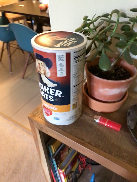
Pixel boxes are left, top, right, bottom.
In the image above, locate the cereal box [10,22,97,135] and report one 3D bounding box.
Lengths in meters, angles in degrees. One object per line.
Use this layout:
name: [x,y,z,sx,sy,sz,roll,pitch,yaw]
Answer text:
cereal box: [-0.030,-0.034,0.419,0.140,0.248,0.141,30,49,33]
